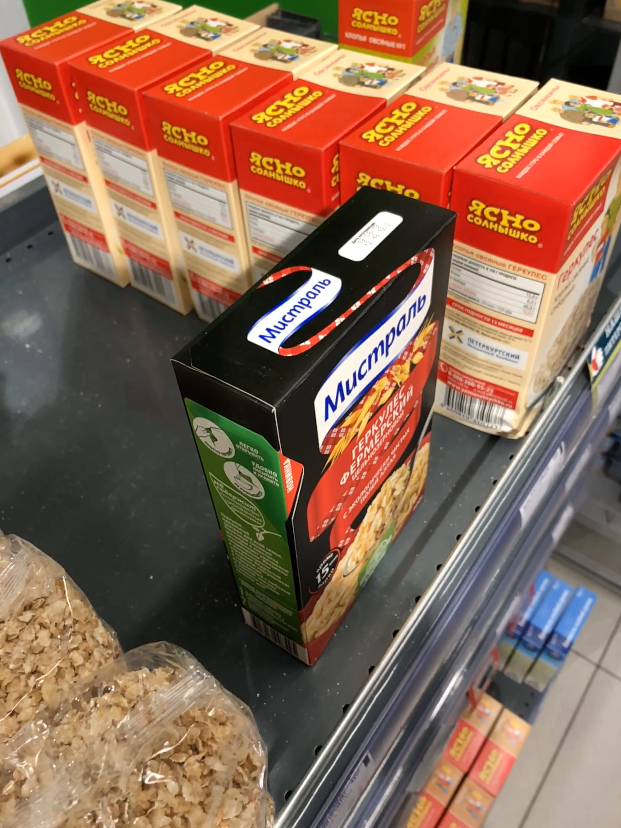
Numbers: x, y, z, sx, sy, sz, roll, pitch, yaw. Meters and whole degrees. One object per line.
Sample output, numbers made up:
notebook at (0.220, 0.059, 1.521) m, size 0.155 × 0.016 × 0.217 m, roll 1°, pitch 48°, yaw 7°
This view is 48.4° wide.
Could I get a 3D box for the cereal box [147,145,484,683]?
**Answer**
cereal box at (0.012, 0.014, 0.325) m, size 0.050 × 0.219 × 0.141 m, roll 25°, pitch 55°, yaw 22°
